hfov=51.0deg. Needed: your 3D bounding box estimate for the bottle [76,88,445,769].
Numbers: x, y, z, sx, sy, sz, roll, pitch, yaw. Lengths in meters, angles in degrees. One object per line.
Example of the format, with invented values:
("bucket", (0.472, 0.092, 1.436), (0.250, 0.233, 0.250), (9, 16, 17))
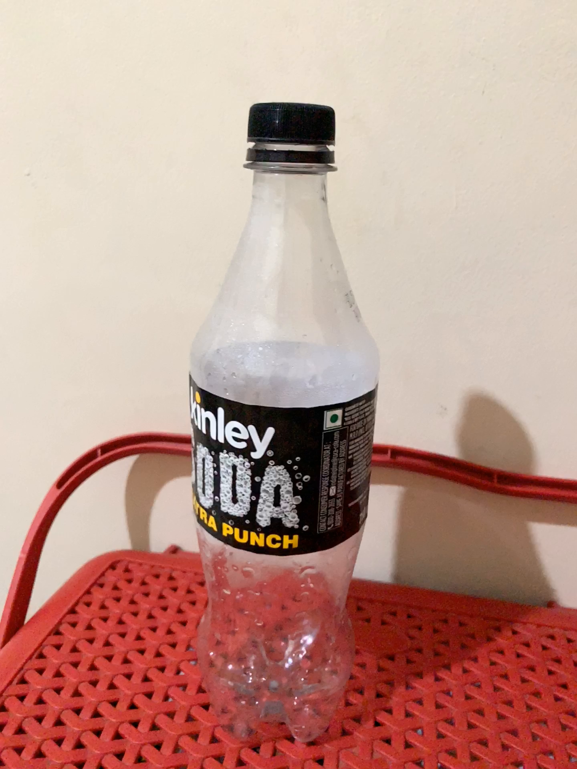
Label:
("bottle", (-0.010, 0.021, 0.220), (0.080, 0.228, 0.070), (19, 29, 36))
